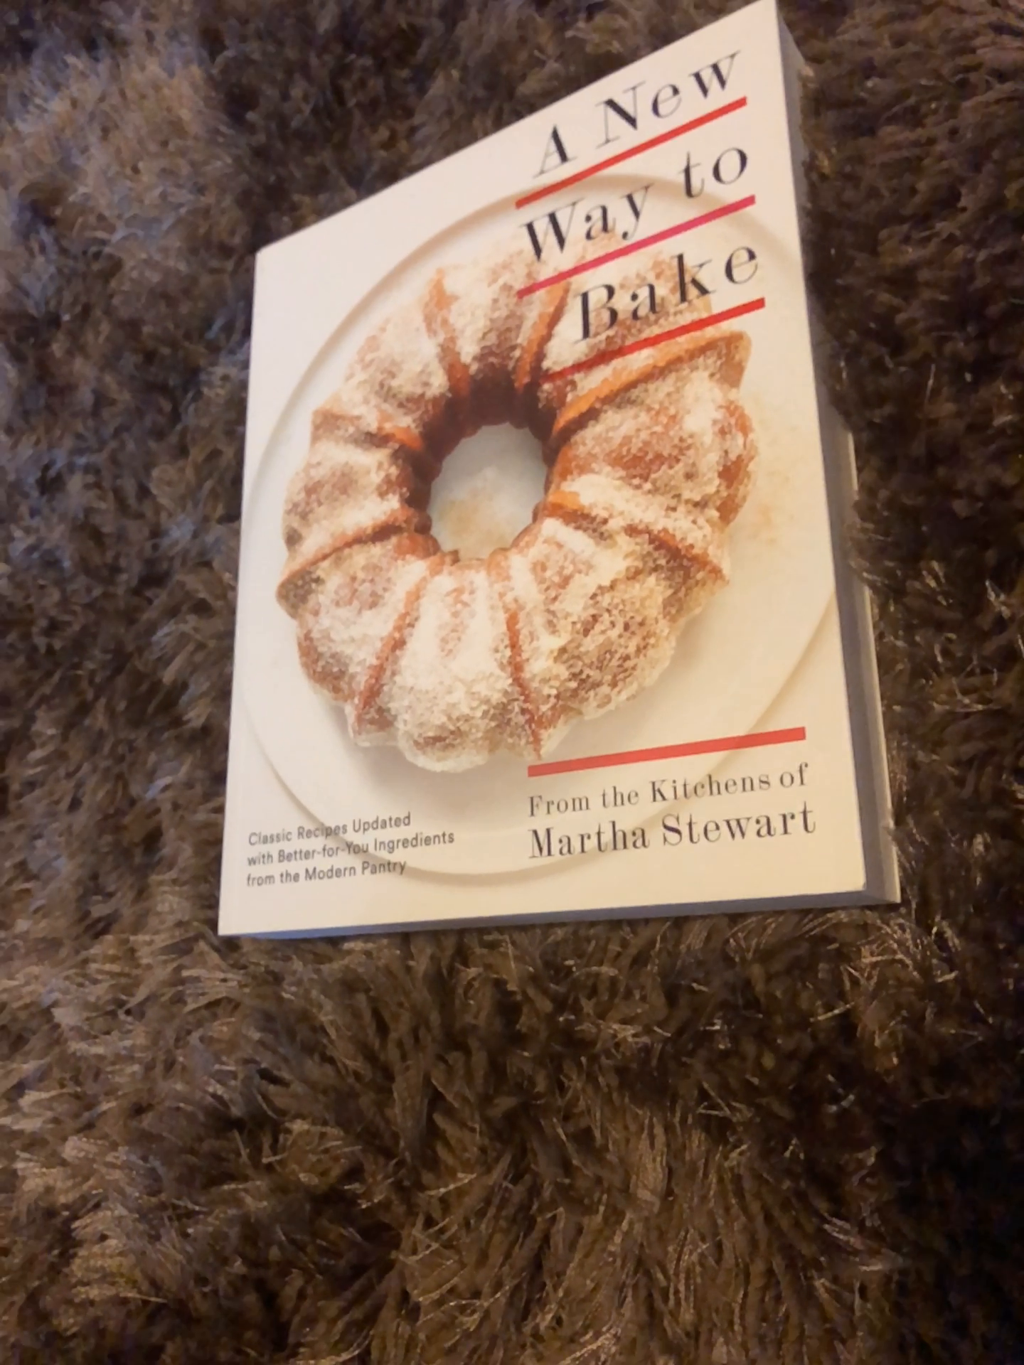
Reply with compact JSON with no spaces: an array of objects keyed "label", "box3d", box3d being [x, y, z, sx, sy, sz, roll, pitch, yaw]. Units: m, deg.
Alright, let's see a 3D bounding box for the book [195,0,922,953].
[{"label":"book","box3d":[-0.001,-0.046,0.326,0.192,0.040,0.229,-12,71,31]}]
